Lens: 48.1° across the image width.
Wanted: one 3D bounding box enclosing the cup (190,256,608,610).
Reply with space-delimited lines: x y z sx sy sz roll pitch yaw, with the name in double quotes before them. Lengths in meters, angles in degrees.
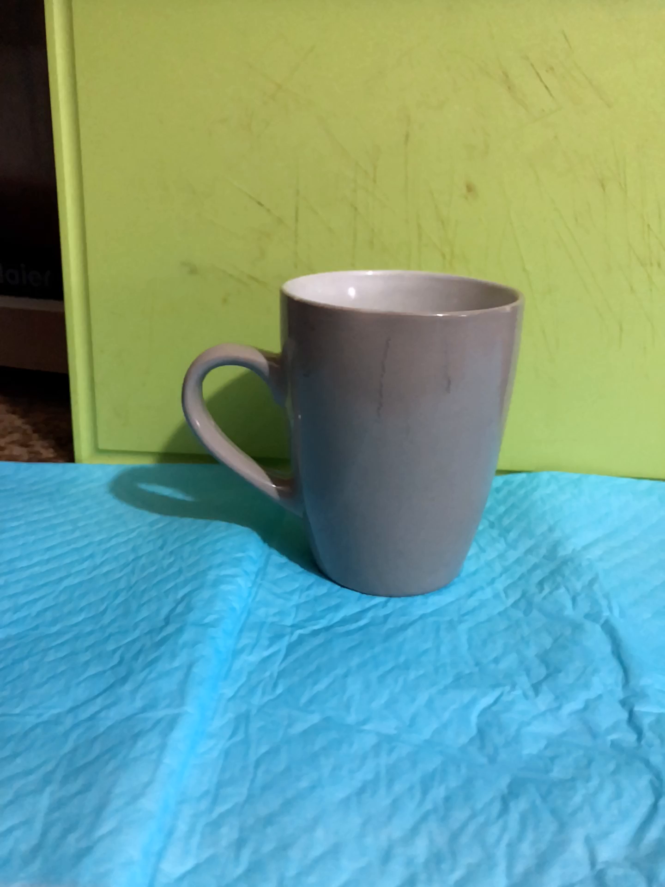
"cup" 0.013 -0.010 0.240 0.110 0.090 0.070 -2 20 -13
